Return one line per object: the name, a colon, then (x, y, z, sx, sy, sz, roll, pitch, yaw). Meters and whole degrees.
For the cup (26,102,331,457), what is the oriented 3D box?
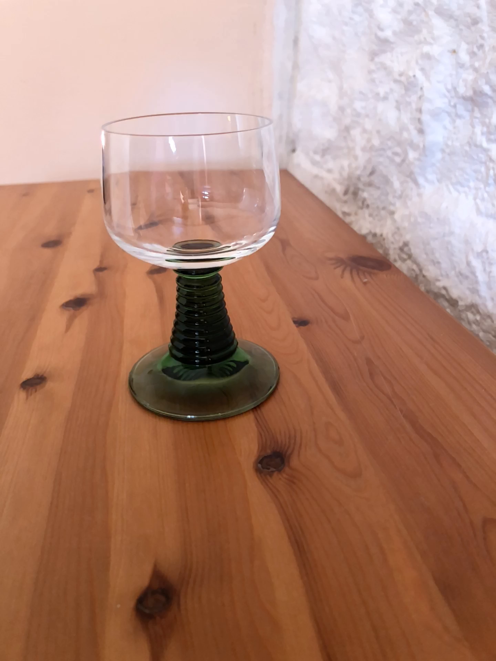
cup: (-0.021, -0.027, 0.214, 0.074, 0.106, 0.074, -1, 27, 0)
